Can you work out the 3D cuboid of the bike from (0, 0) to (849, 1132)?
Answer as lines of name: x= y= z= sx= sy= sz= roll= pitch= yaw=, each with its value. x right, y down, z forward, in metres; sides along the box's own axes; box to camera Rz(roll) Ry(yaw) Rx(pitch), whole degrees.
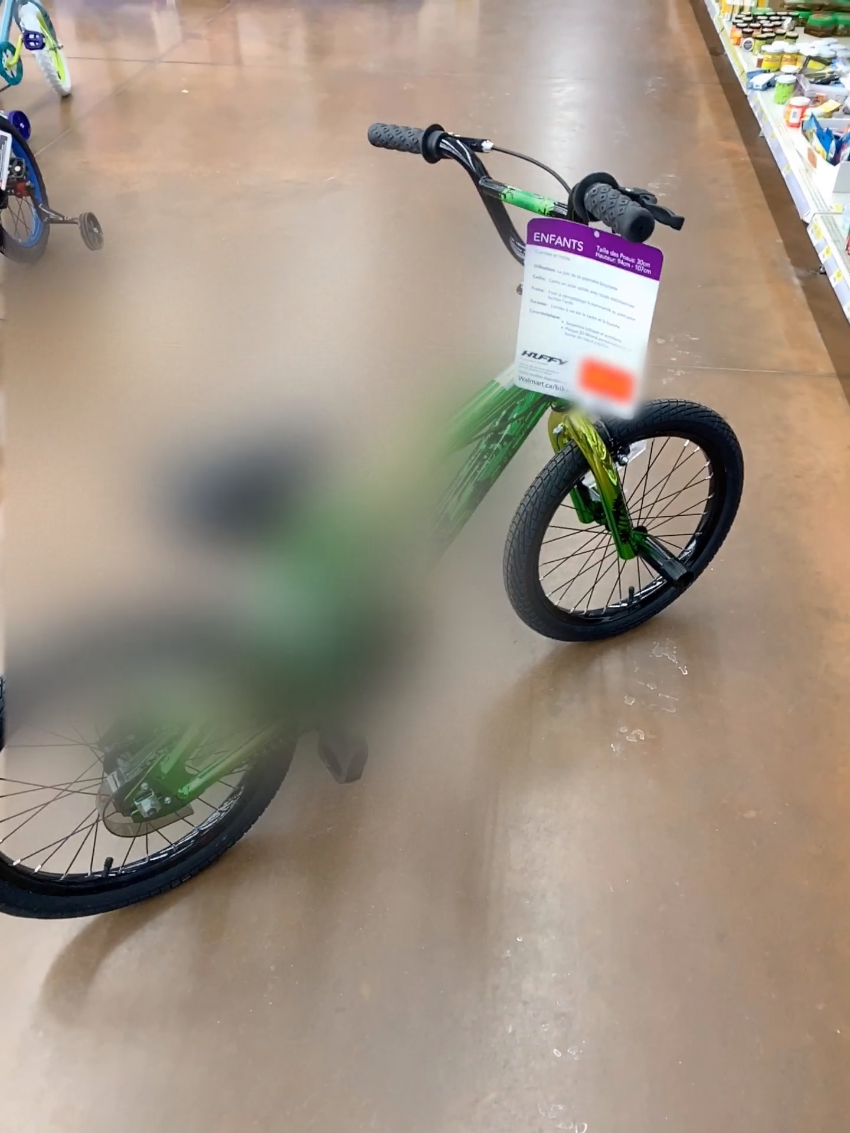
bike: x=0.082 y=-0.060 z=1.126 sx=1.407 sy=1.034 sz=0.720 roll=-26 pitch=47 yaw=-18
